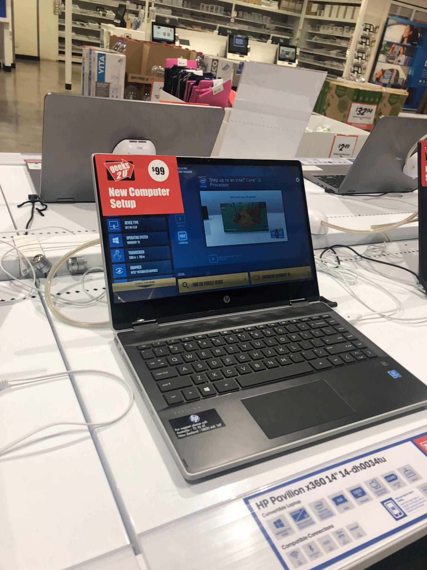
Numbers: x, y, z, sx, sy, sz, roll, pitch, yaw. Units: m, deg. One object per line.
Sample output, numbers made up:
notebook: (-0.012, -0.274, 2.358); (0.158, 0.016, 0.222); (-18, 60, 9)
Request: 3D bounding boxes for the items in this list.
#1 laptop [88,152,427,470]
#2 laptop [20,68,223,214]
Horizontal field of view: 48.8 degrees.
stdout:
laptop: (0.056, -0.017, 0.554); (0.316, 0.169, 0.340); (-6, 32, -28)
laptop: (-0.212, -0.307, 0.986); (0.306, 0.199, 0.358); (-6, 31, -28)
